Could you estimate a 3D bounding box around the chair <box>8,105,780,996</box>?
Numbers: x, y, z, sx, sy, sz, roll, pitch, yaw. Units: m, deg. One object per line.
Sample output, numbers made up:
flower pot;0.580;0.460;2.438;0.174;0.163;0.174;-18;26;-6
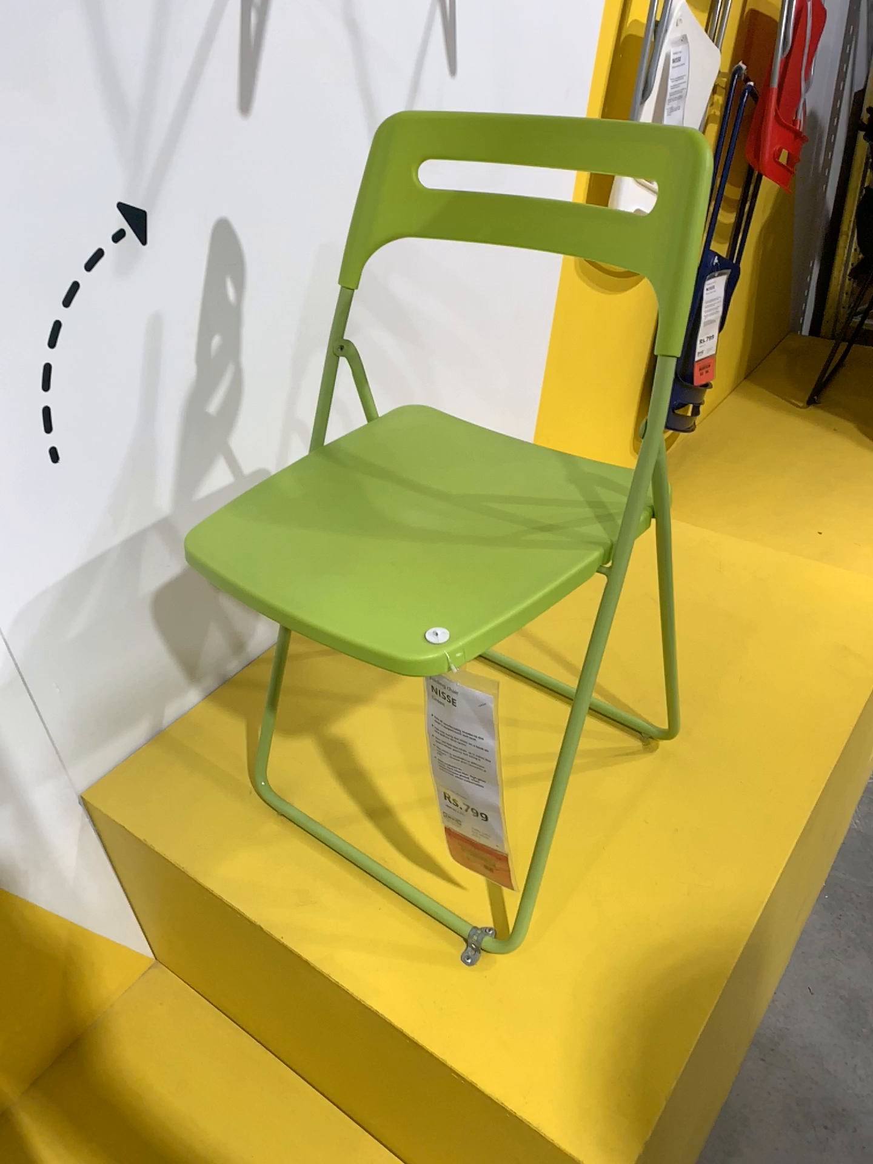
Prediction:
chair;0.000;-0.057;0.947;0.451;0.717;0.461;22;44;32
